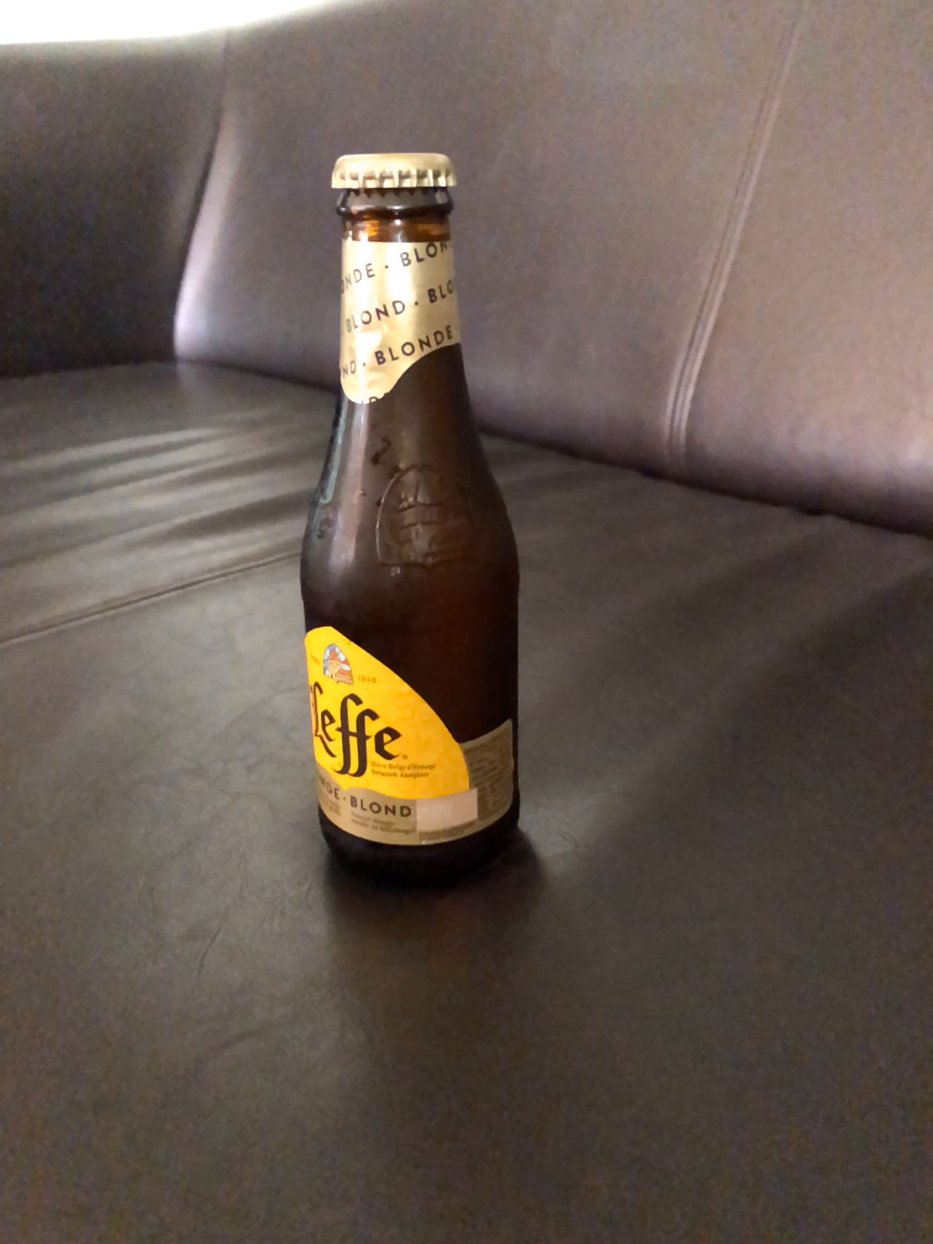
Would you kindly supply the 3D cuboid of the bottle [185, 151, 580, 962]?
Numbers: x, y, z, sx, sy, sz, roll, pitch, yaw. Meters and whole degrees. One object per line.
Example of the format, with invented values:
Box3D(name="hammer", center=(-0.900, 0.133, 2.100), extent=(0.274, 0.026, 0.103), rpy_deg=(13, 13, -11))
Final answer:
Box3D(name="bottle", center=(-0.014, -0.016, 0.268), extent=(0.060, 0.189, 0.060), rpy_deg=(-3, 23, 1))
